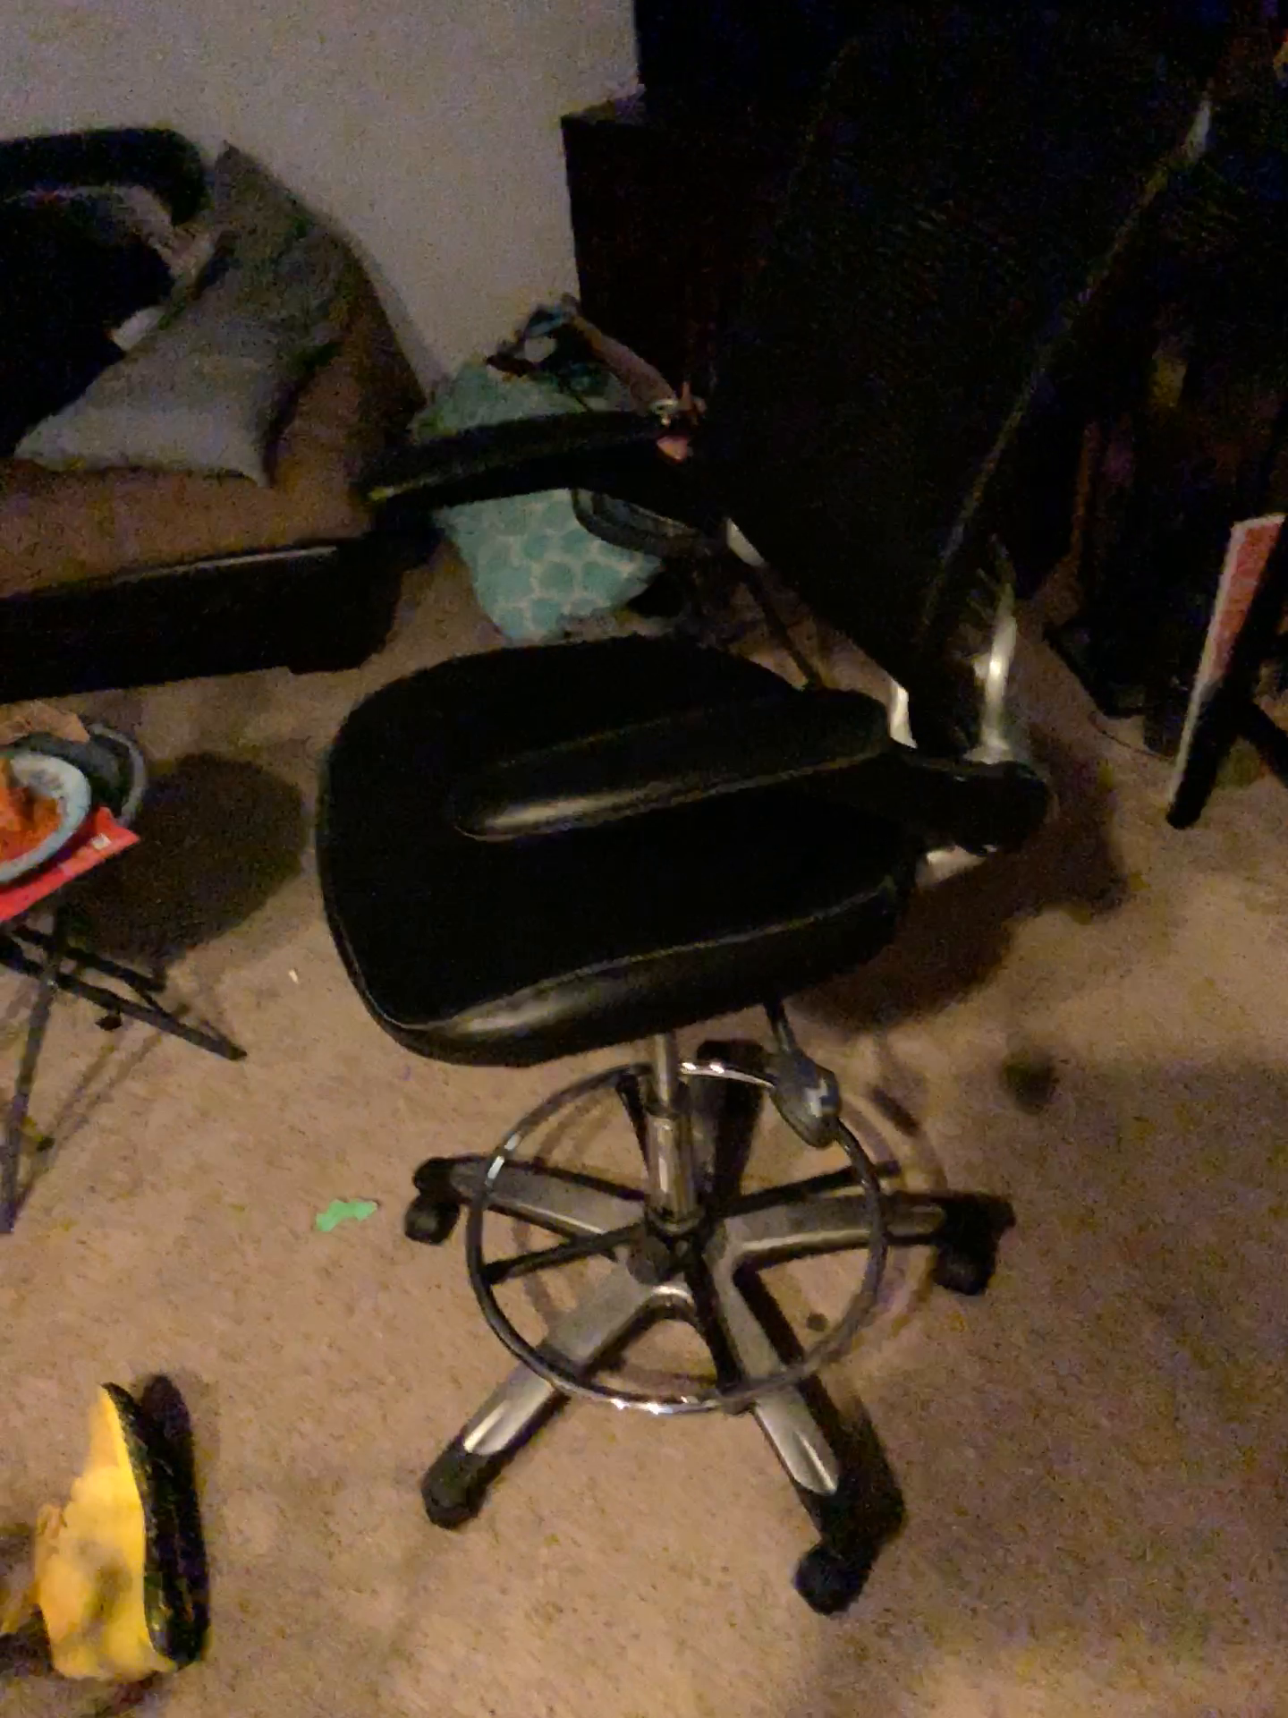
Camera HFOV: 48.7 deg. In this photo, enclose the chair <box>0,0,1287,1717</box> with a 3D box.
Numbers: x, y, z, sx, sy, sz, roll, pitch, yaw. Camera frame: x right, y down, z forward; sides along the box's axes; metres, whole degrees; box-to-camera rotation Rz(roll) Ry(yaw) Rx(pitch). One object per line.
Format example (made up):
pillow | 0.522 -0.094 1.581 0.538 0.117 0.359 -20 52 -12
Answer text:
chair | 0.038 -0.010 1.167 0.700 1.120 0.780 -13 39 -10
